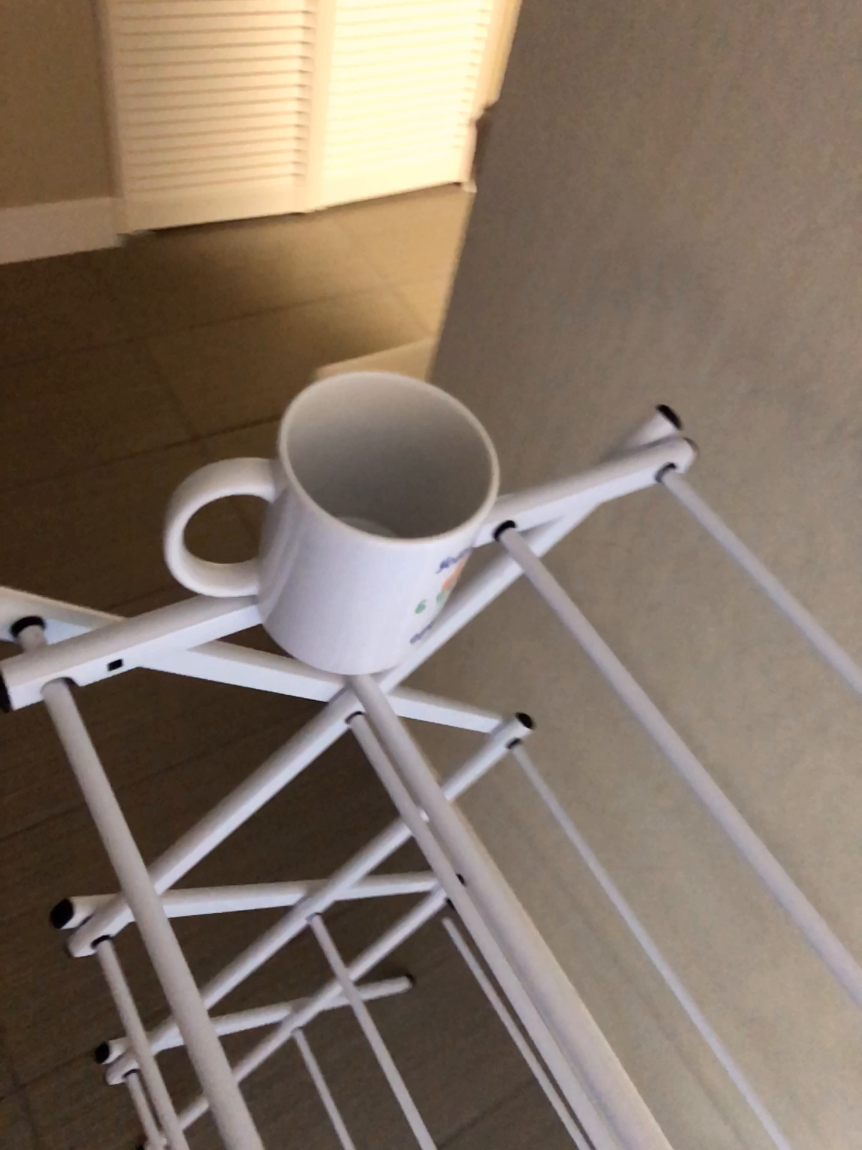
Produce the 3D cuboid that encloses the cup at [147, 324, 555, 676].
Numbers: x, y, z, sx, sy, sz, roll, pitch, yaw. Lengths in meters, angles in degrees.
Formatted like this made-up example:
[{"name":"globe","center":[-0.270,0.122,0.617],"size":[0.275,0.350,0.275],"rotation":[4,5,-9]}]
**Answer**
[{"name":"cup","center":[-0.039,-0.024,0.362],"size":[0.130,0.090,0.090],"rotation":[1,56,-17]}]
